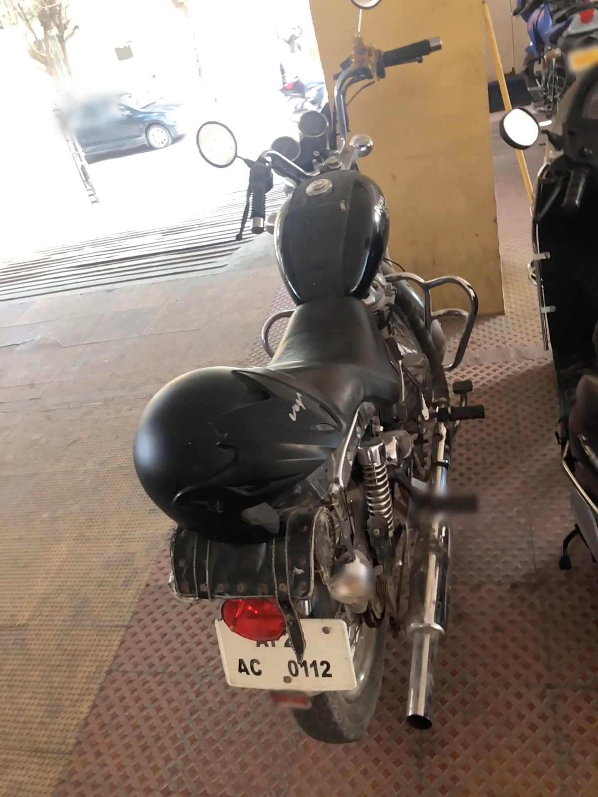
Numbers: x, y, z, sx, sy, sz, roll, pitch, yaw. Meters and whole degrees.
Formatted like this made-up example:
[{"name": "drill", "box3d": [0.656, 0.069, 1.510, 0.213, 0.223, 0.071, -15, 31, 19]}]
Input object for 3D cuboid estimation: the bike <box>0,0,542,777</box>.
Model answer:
[{"name": "bike", "box3d": [-0.006, -0.223, 1.839, 0.783, 1.177, 1.820, -10, 36, 11]}]
